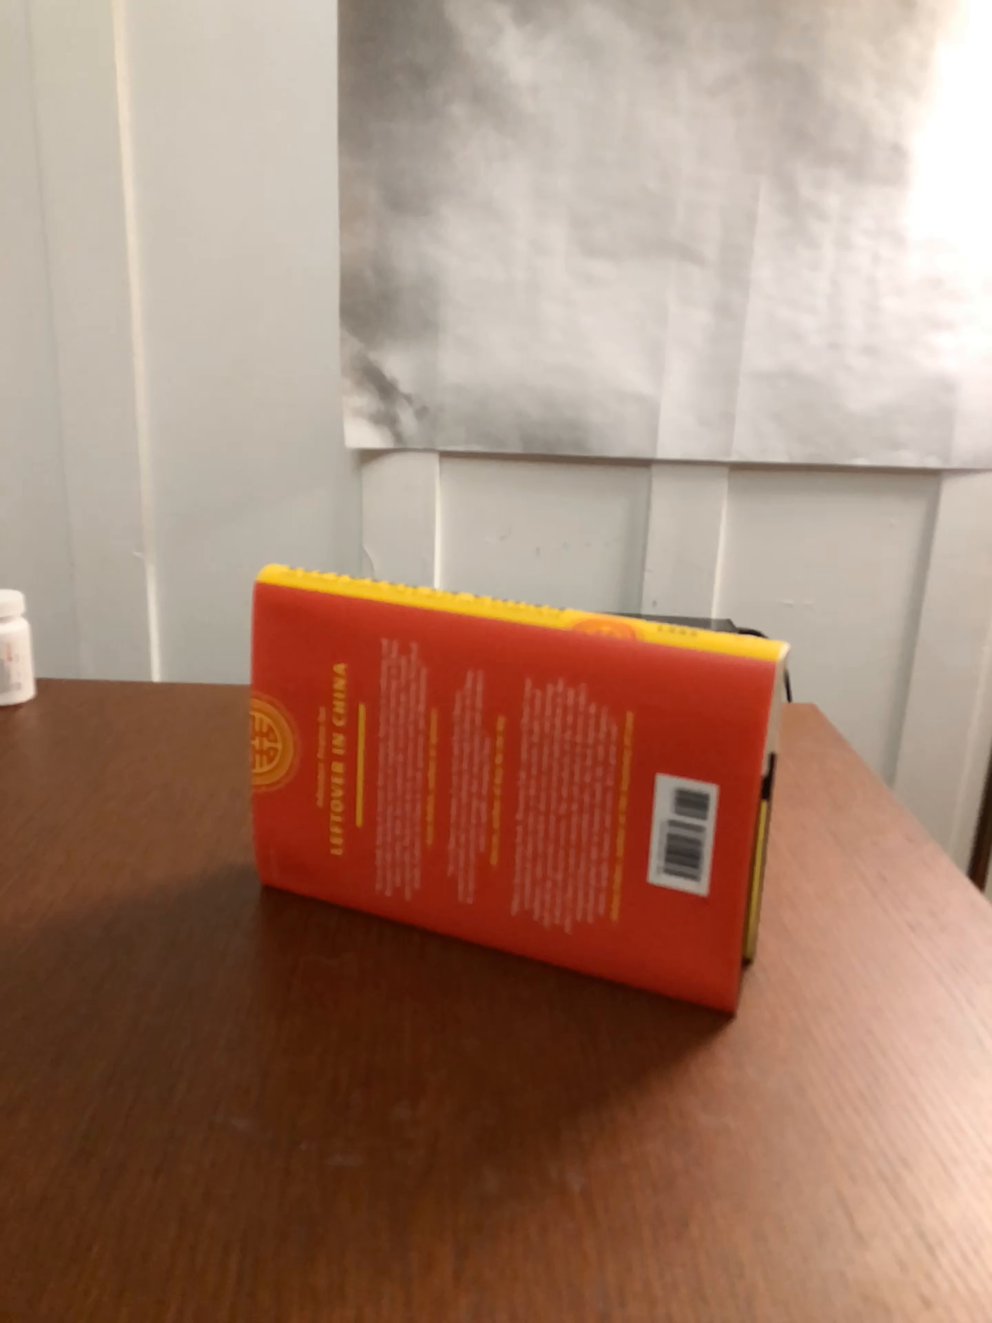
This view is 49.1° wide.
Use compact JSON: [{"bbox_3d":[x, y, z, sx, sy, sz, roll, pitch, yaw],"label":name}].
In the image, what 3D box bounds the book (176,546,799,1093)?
[{"bbox_3d":[-0.014,0.058,0.482,0.260,0.179,0.060,10,18,21],"label":"book"}]
